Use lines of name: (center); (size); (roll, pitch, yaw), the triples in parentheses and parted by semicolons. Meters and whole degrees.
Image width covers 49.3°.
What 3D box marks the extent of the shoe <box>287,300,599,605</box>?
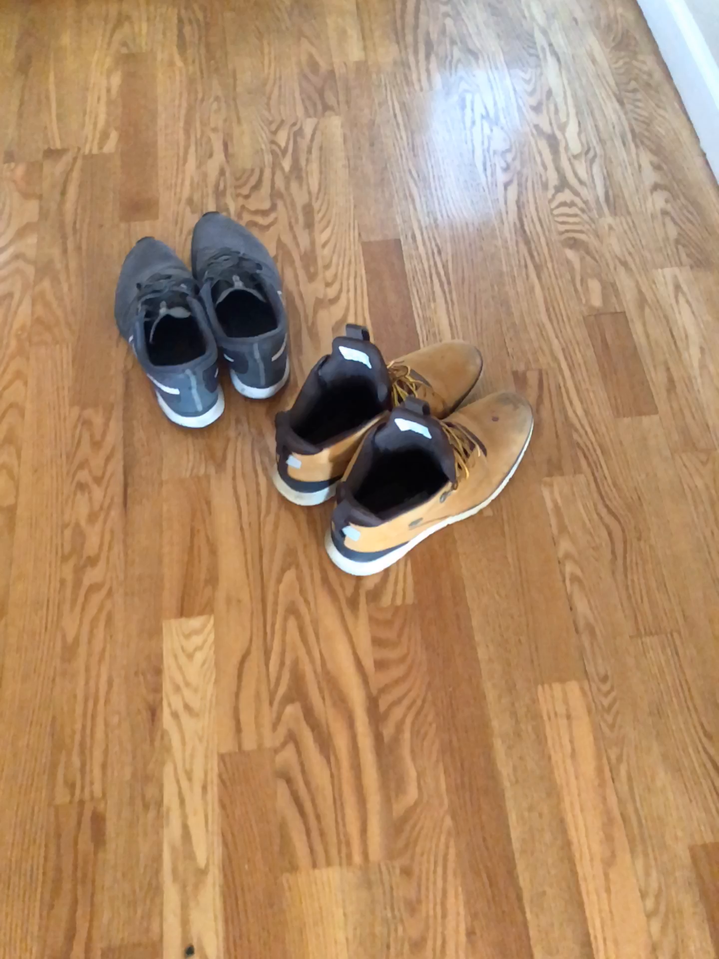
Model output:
shoe: (0.091, -0.031, 0.869); (0.320, 0.140, 0.130); (-38, 70, -17)

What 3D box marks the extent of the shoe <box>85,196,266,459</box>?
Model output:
shoe: (-0.242, -0.204, 1.025); (0.140, 0.100, 0.321); (-18, 65, -9)

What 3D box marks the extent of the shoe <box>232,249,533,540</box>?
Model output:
shoe: (0.029, -0.100, 0.909); (0.320, 0.140, 0.130); (-38, 70, -17)

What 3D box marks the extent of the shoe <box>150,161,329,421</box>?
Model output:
shoe: (-0.163, -0.259, 1.053); (0.140, 0.100, 0.331); (-18, 65, -9)
